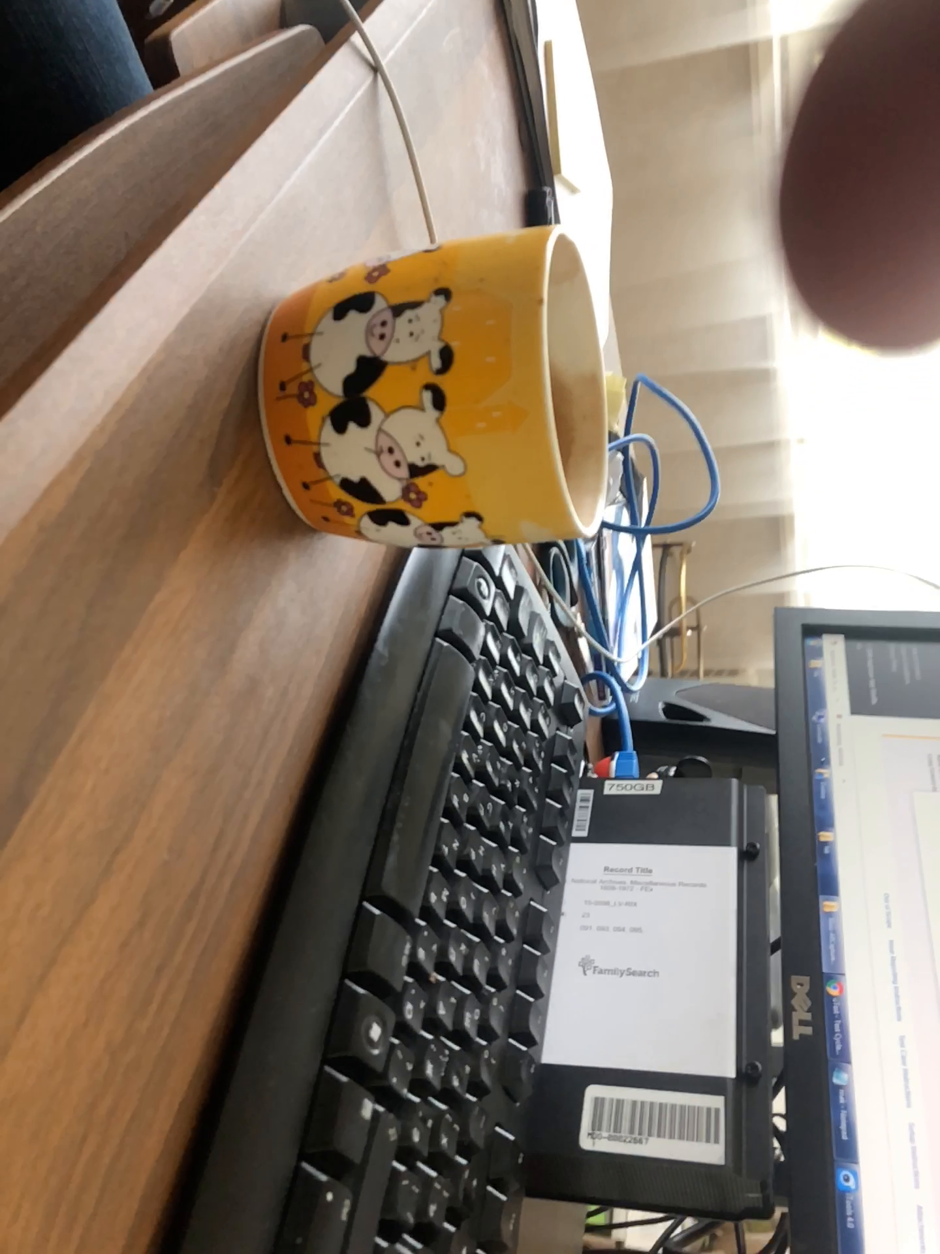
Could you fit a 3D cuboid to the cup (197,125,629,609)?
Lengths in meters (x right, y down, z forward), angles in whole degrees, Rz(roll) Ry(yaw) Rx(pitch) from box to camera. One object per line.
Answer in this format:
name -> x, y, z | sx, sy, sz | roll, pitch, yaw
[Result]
cup -> -0.006, -0.088, 0.349 | 0.135, 0.095, 0.092 | -75, 155, -44
